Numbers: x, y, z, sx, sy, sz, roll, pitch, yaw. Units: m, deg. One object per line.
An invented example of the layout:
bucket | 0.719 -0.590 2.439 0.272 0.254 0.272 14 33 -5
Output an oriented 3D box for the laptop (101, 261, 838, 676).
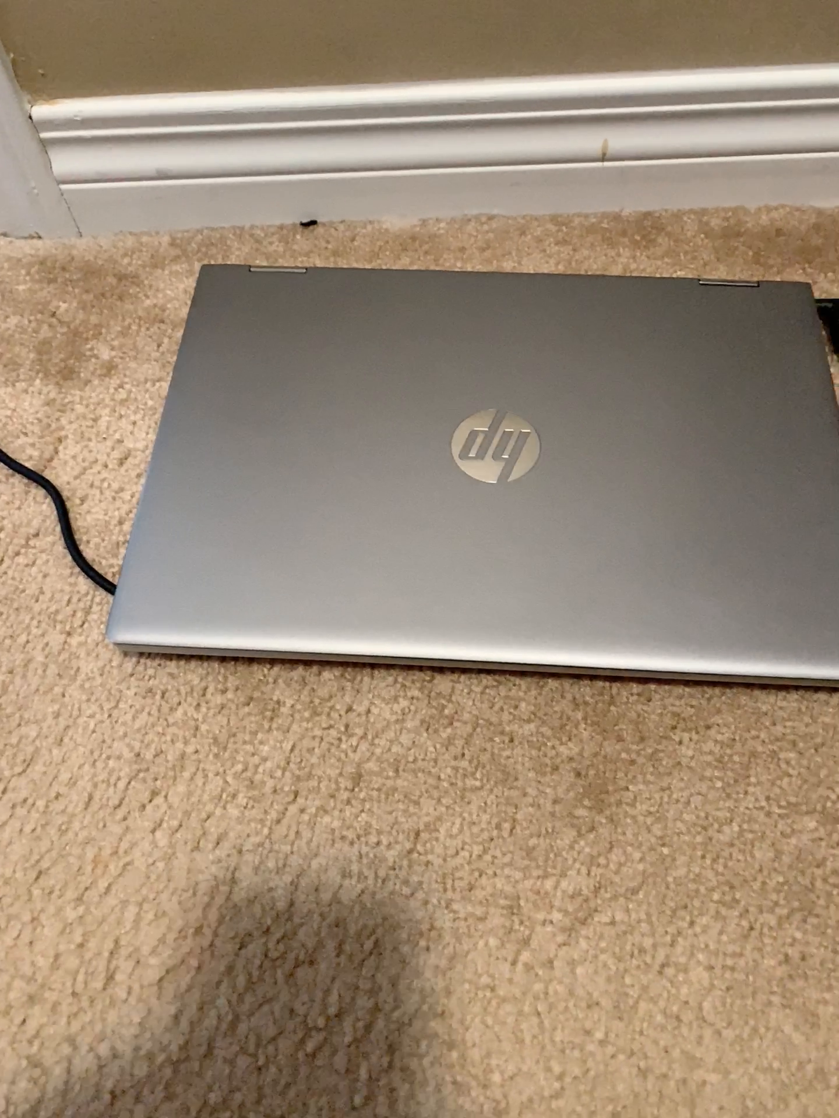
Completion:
laptop | 0.038 -0.056 0.402 0.319 0.001 0.222 3 60 1
